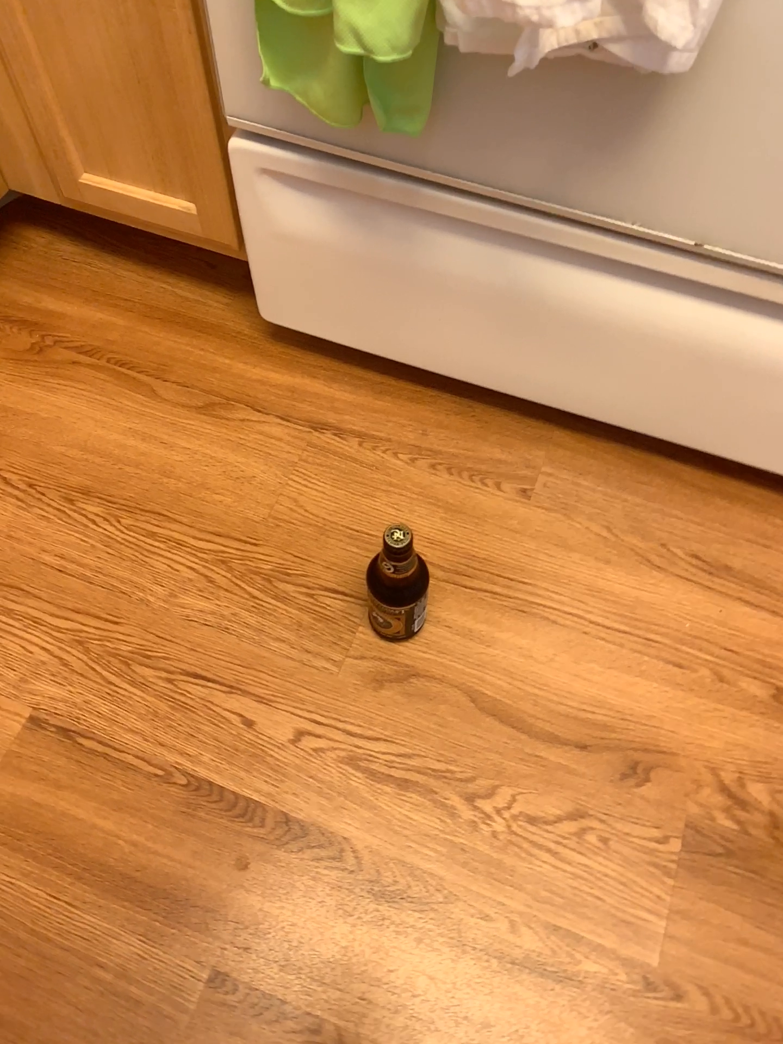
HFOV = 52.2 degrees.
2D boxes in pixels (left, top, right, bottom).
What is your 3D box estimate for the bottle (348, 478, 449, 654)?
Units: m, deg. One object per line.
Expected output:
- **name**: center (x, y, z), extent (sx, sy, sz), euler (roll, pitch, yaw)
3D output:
- **bottle**: center (0.005, 0.050, 0.762), extent (0.060, 0.209, 0.060), euler (0, 61, -1)
